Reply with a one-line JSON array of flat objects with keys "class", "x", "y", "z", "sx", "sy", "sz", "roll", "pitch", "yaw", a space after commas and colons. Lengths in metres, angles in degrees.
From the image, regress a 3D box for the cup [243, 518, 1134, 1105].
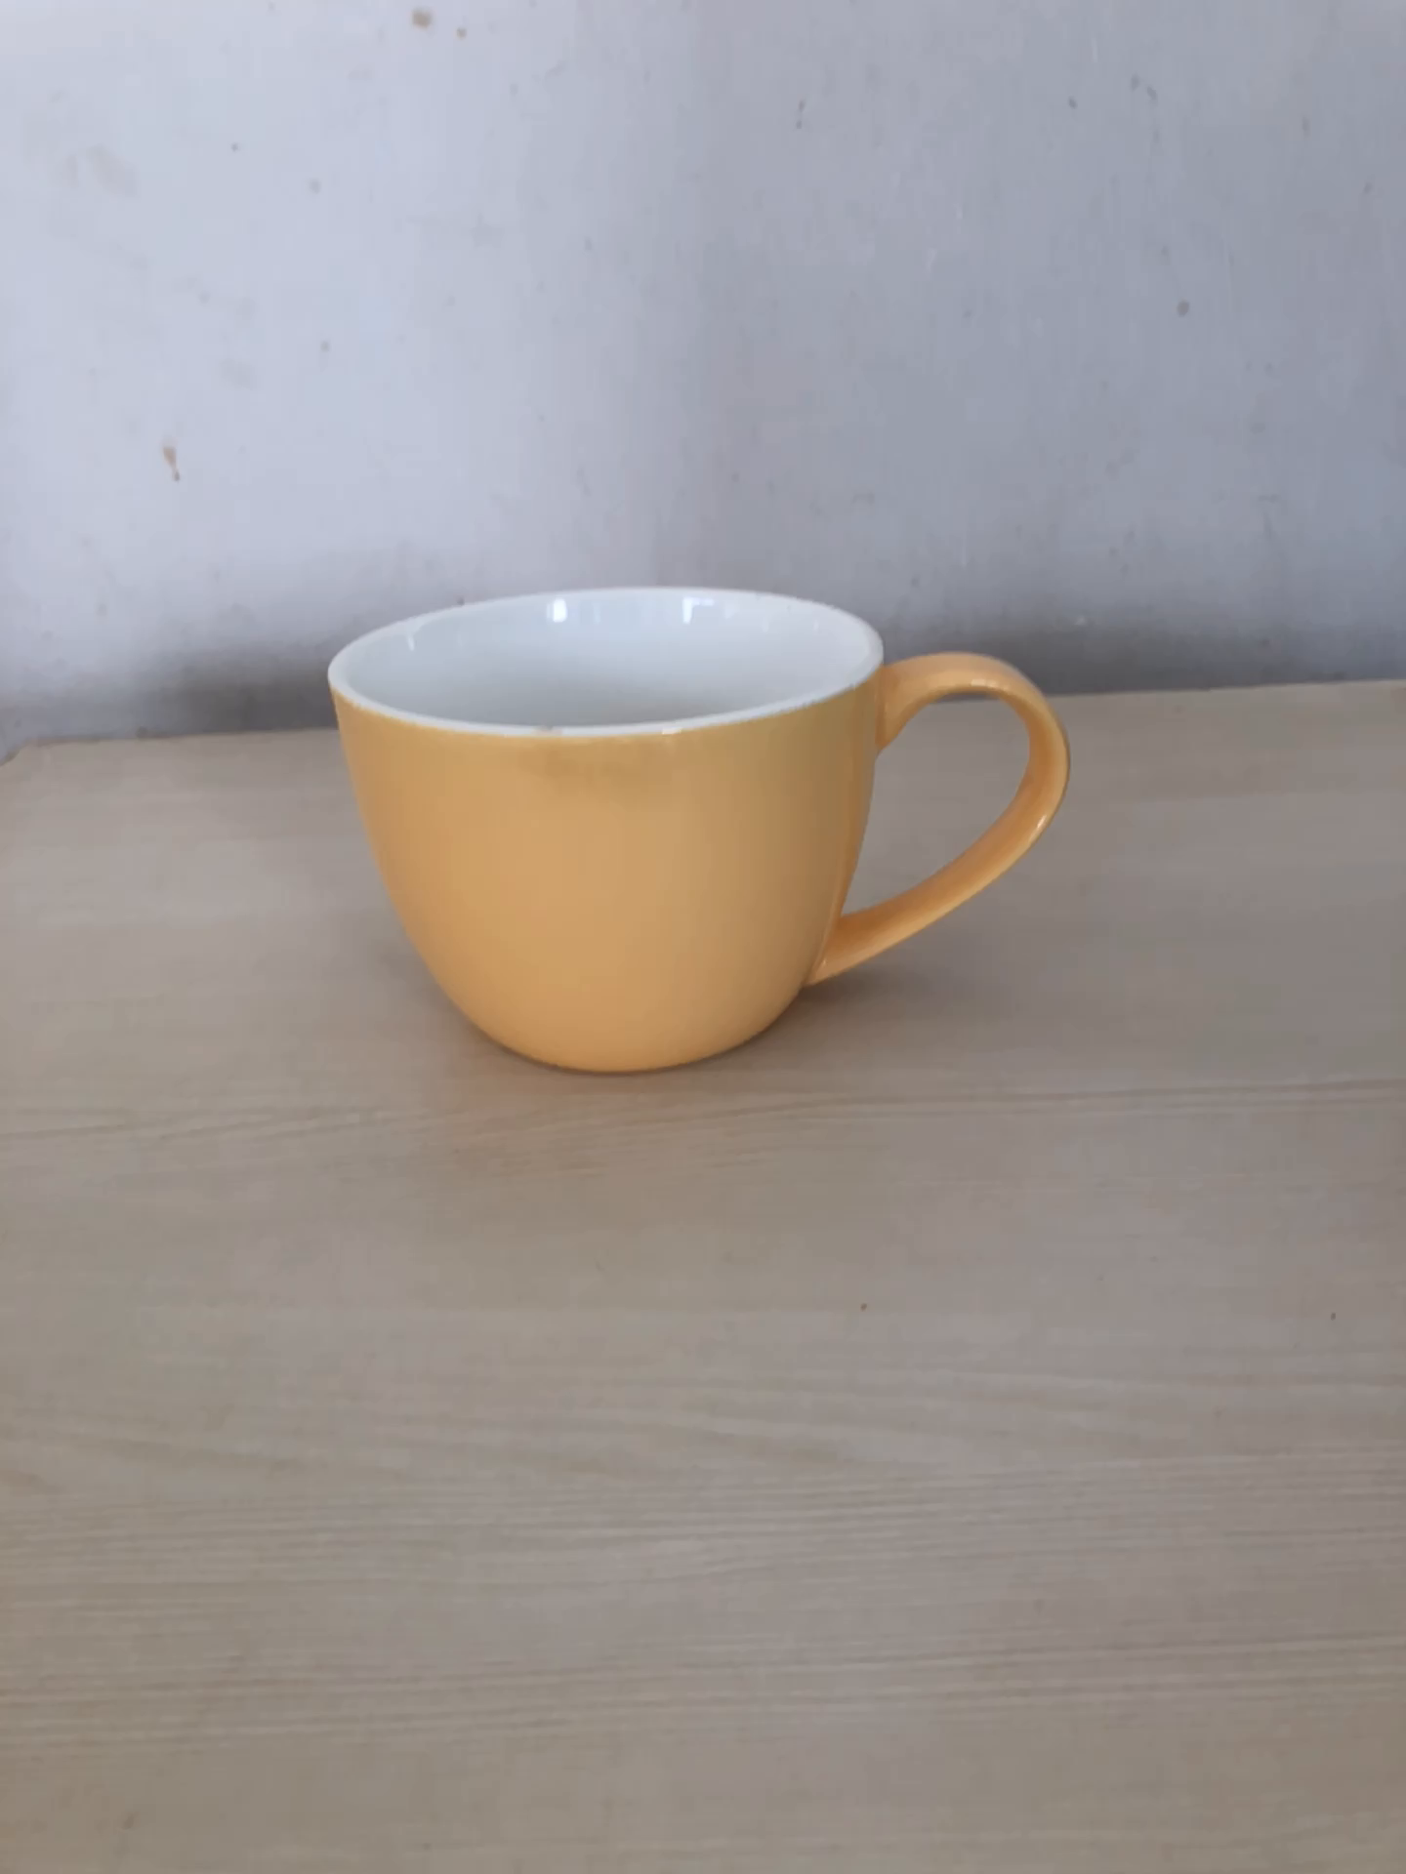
[{"class": "cup", "x": 0.000, "y": -0.030, "z": 0.308, "sx": 0.140, "sy": 0.080, "sz": 0.101, "roll": -2, "pitch": 24, "yaw": 2}]
